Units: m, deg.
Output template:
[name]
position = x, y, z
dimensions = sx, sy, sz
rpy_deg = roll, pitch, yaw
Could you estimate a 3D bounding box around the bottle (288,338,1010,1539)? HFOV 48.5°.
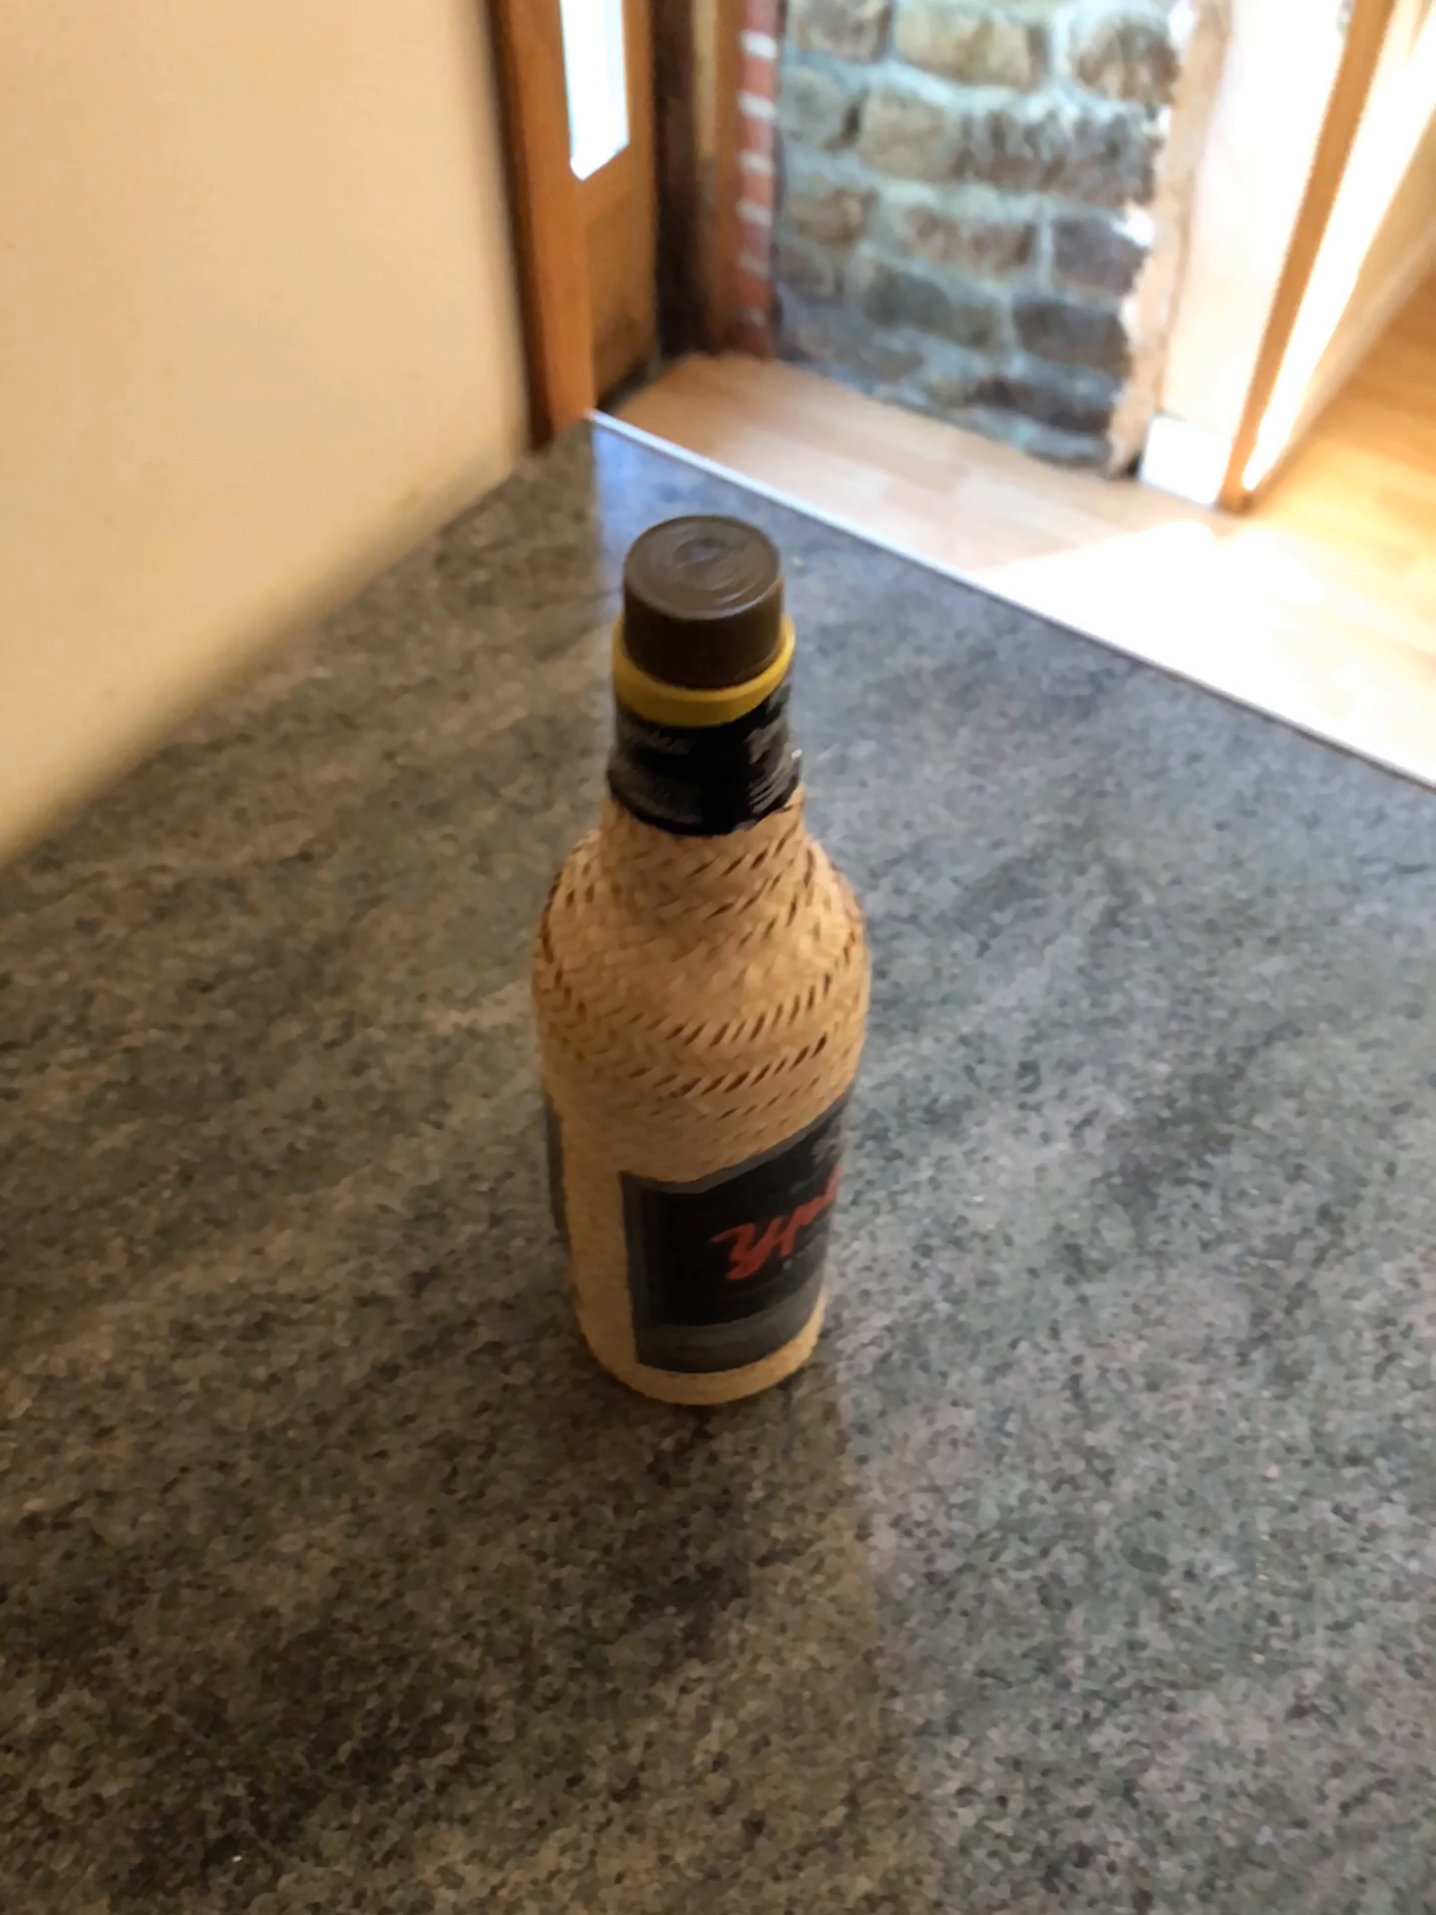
[bottle]
position = -0.009, 0.023, 0.370
dimensions = 0.080, 0.288, 0.090
rpy_deg = 28, 55, 21
